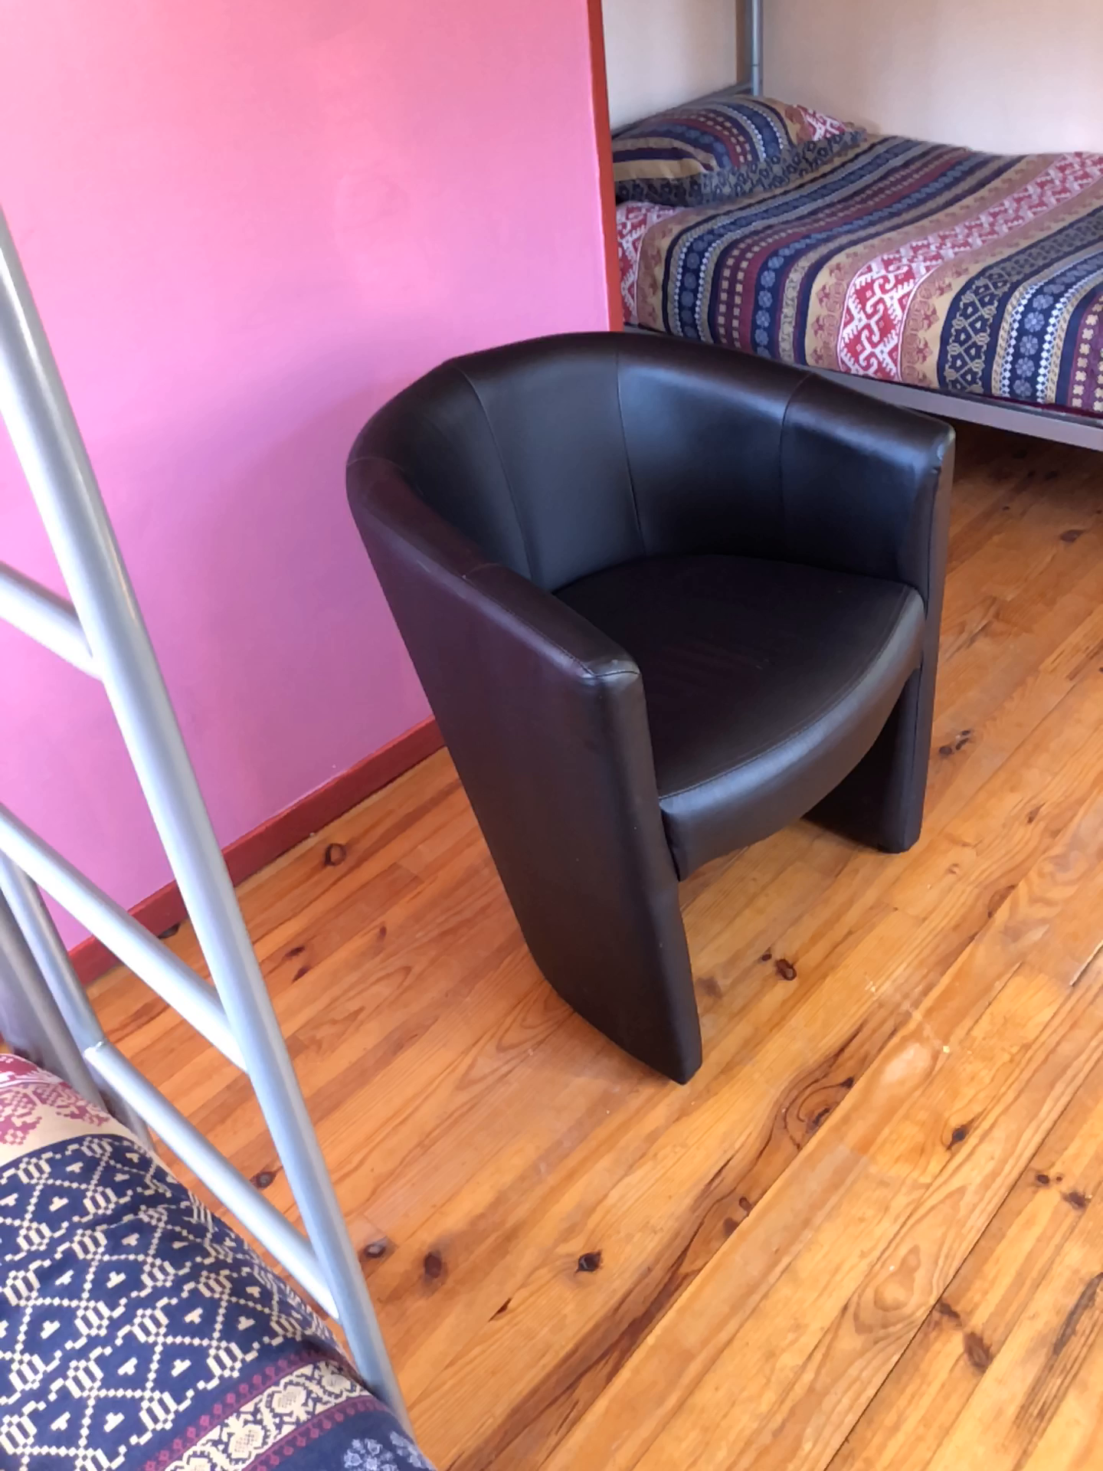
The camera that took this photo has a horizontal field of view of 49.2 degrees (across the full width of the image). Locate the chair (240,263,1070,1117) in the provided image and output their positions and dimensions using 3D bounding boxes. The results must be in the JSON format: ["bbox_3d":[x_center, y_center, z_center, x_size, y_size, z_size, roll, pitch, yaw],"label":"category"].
[{"bbox_3d":[0.146,-0.114,1.476,0.590,0.646,0.674,26,48,36],"label":"chair"}]
